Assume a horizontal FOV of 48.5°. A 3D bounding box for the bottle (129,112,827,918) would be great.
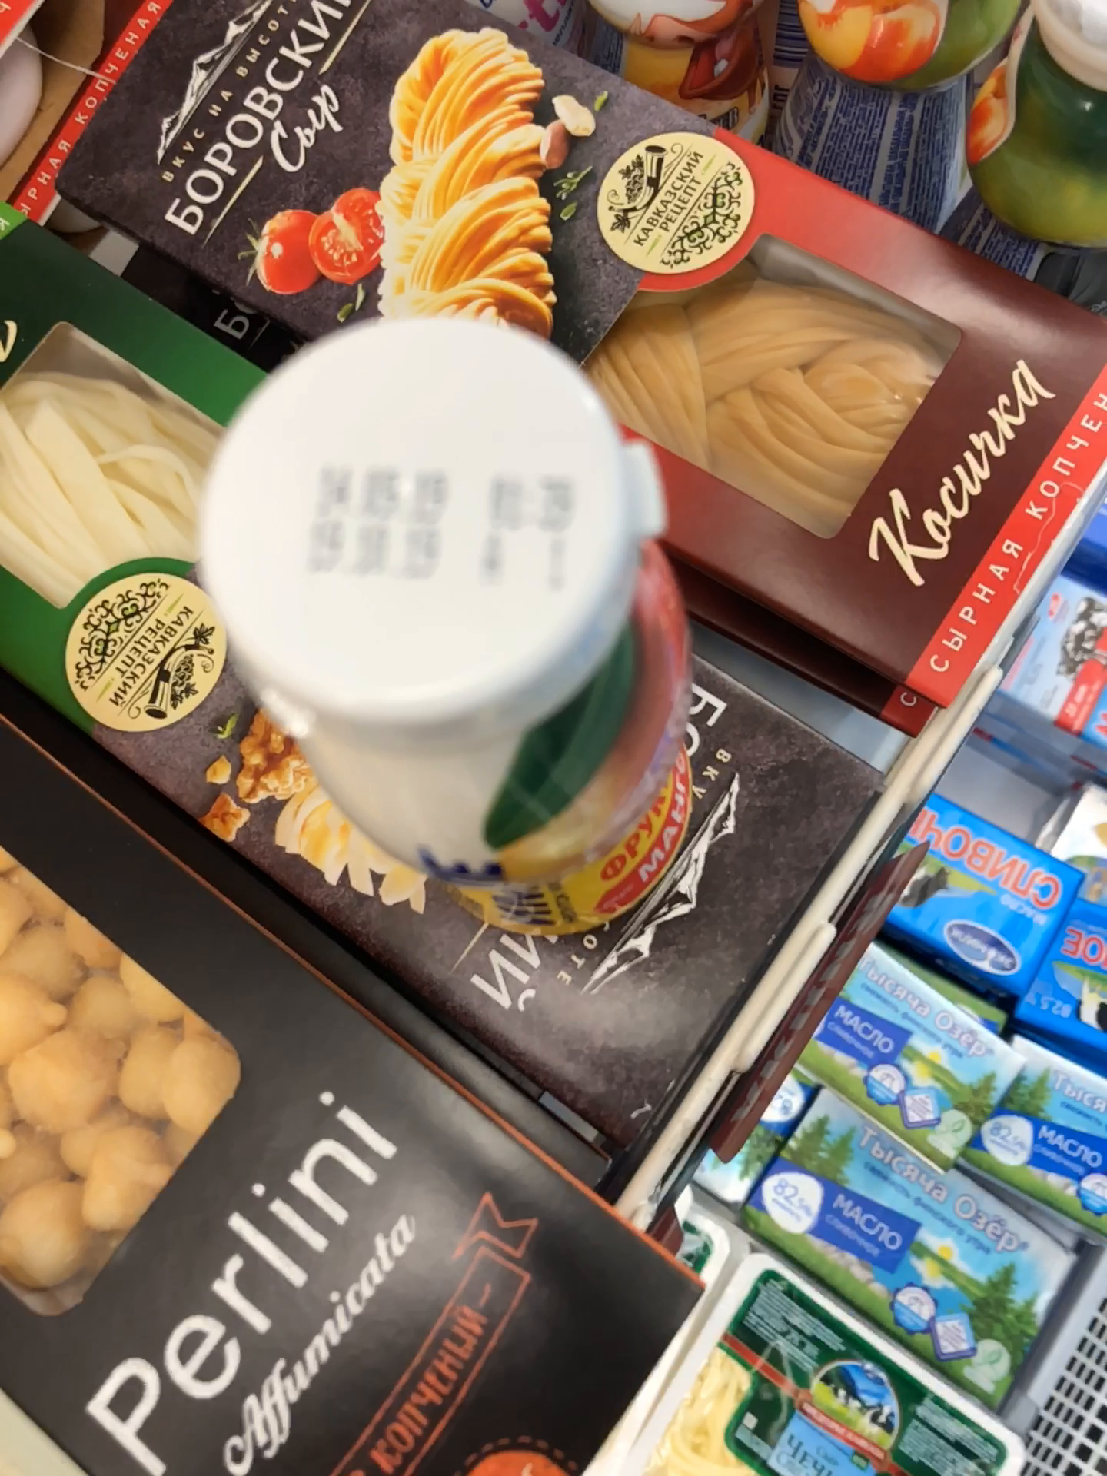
[{"bbox_3d":[-0.001,-0.014,0.145,0.044,0.100,0.046,-2,74,5],"label":"bottle"}]
